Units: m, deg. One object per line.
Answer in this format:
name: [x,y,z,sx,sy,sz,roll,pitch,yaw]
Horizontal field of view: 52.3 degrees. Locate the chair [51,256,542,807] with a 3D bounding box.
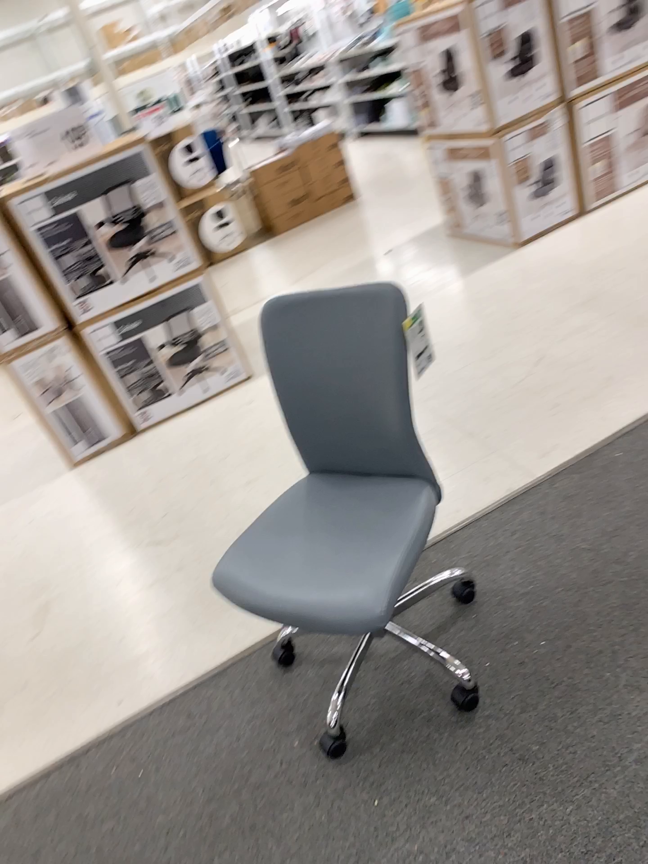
chair: [0.030,0.188,1.486,0.602,0.875,0.651,2,37,36]
